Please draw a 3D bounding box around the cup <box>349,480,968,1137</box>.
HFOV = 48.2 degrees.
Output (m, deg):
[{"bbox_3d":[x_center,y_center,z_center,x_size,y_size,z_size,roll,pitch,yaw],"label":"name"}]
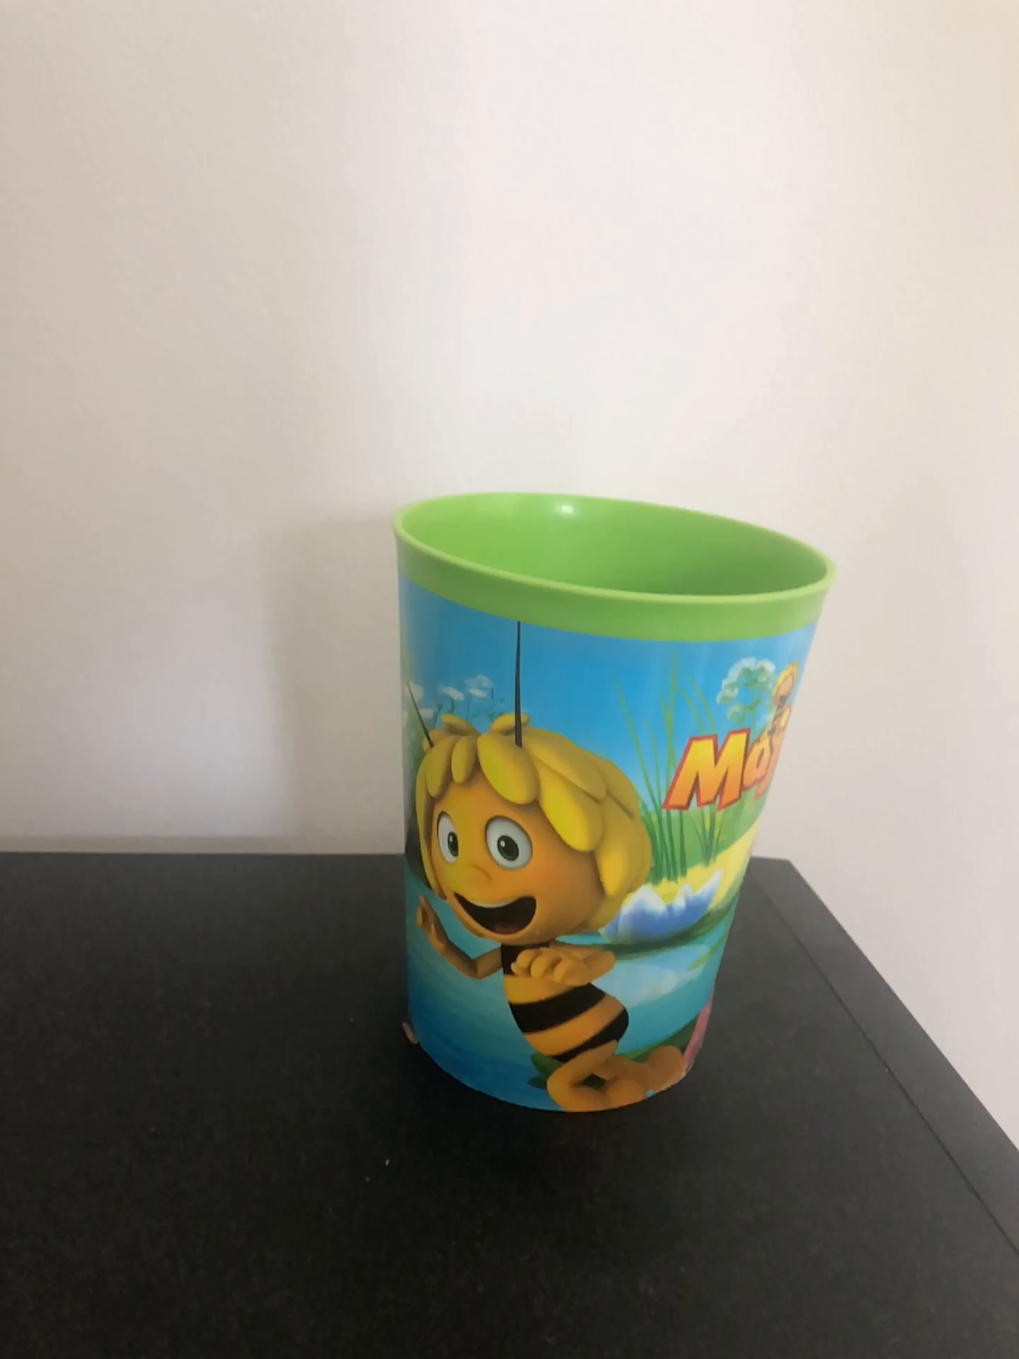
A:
[{"bbox_3d":[0.017,0.017,0.214,0.080,0.090,0.080,6,18,-2],"label":"cup"}]
